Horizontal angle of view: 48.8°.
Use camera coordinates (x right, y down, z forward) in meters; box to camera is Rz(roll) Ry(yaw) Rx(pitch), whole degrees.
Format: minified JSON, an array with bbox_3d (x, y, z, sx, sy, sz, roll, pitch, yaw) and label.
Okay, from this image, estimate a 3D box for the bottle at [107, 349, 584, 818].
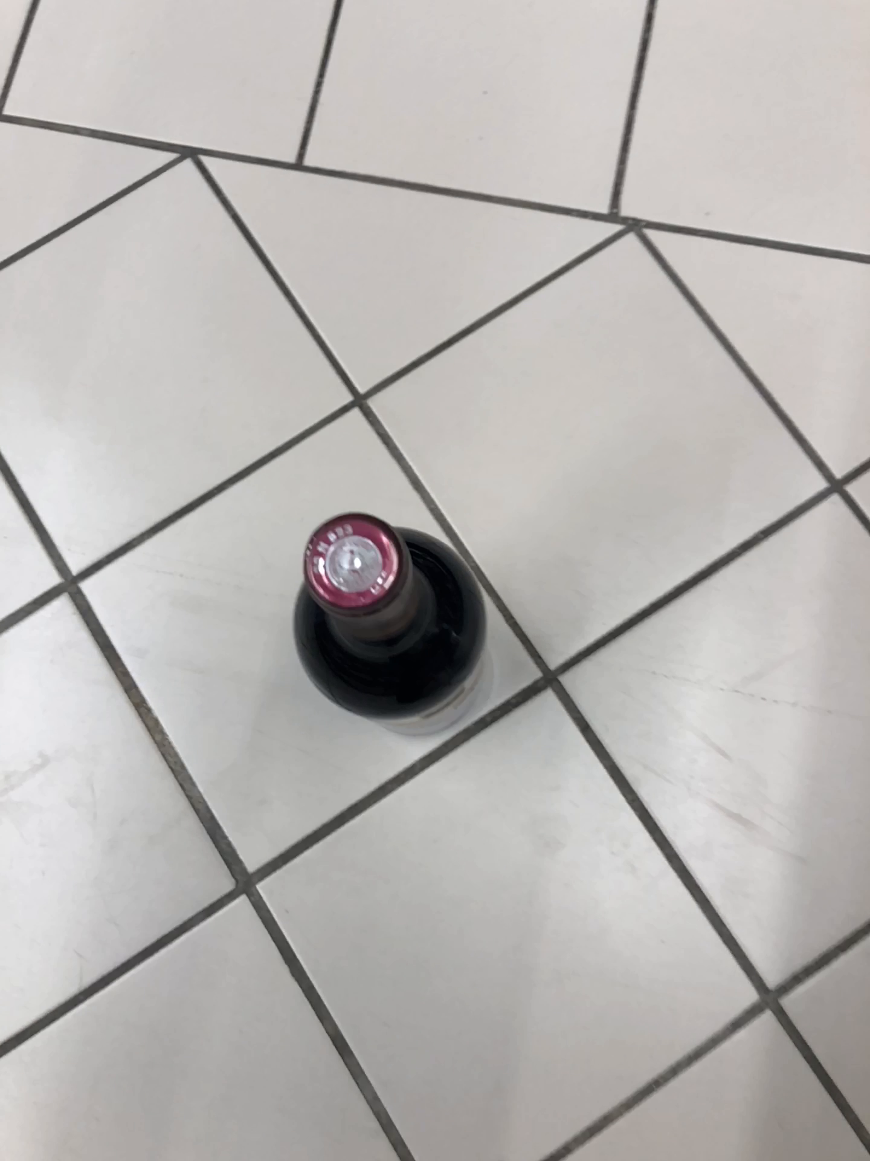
[{"bbox_3d":[-0.017,0.025,0.394,0.090,0.290,0.090,0,79,2],"label":"bottle"}]
